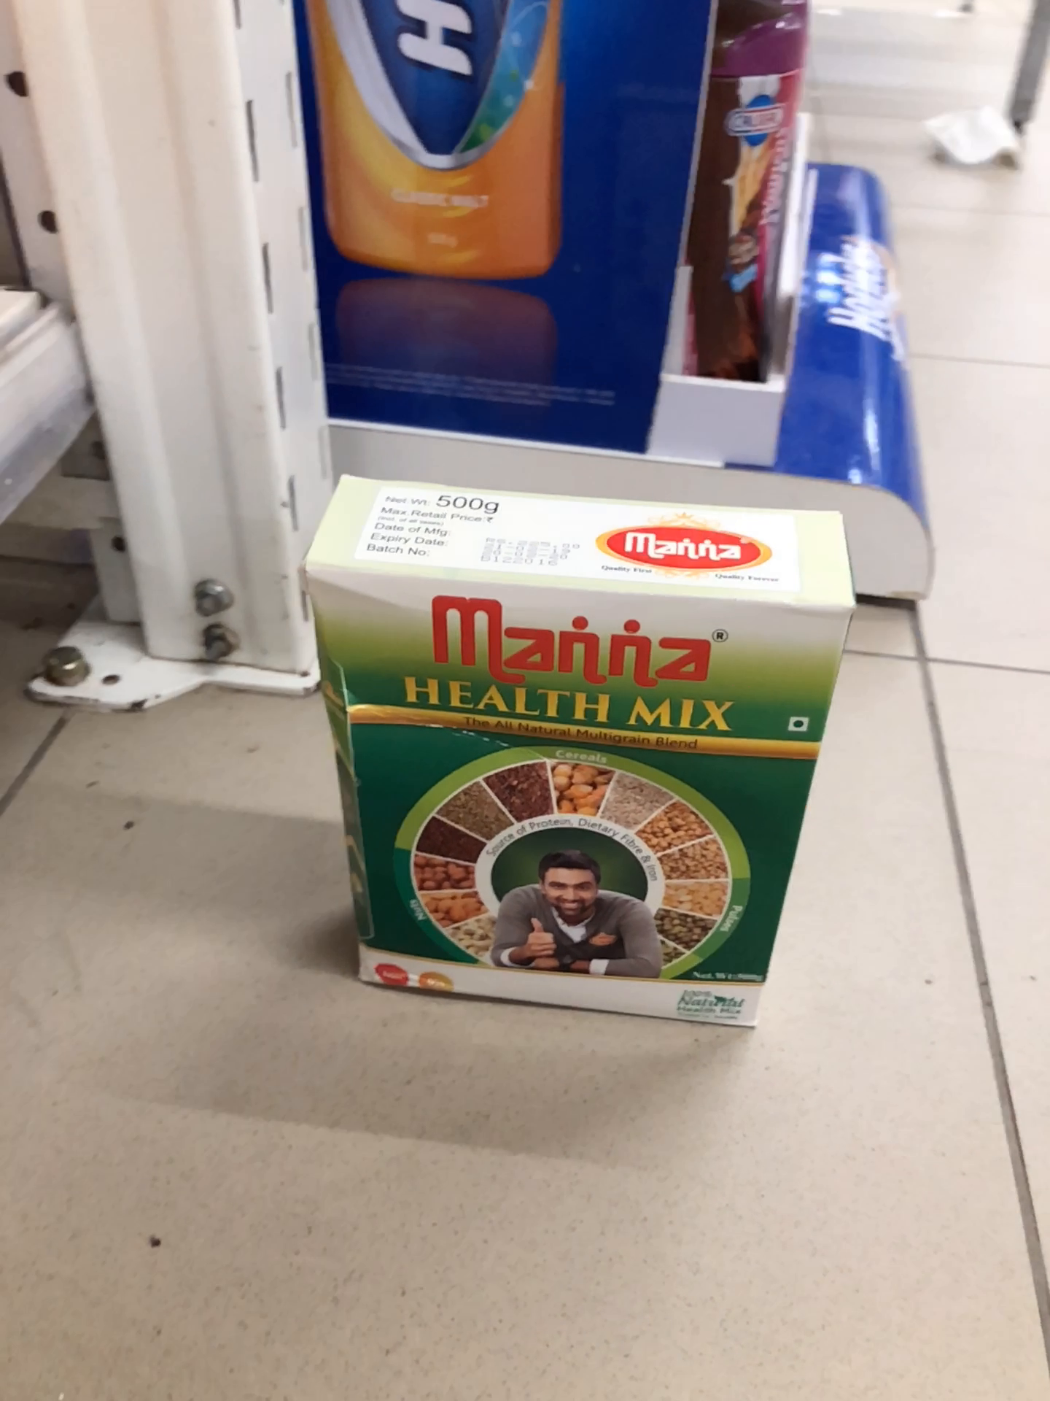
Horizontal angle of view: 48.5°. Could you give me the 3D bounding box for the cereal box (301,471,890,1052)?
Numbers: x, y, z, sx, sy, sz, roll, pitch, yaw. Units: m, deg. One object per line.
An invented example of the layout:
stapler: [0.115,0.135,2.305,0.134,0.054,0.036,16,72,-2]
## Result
cereal box: [0.018,0.028,0.375,0.150,0.189,0.050,4,39,4]
